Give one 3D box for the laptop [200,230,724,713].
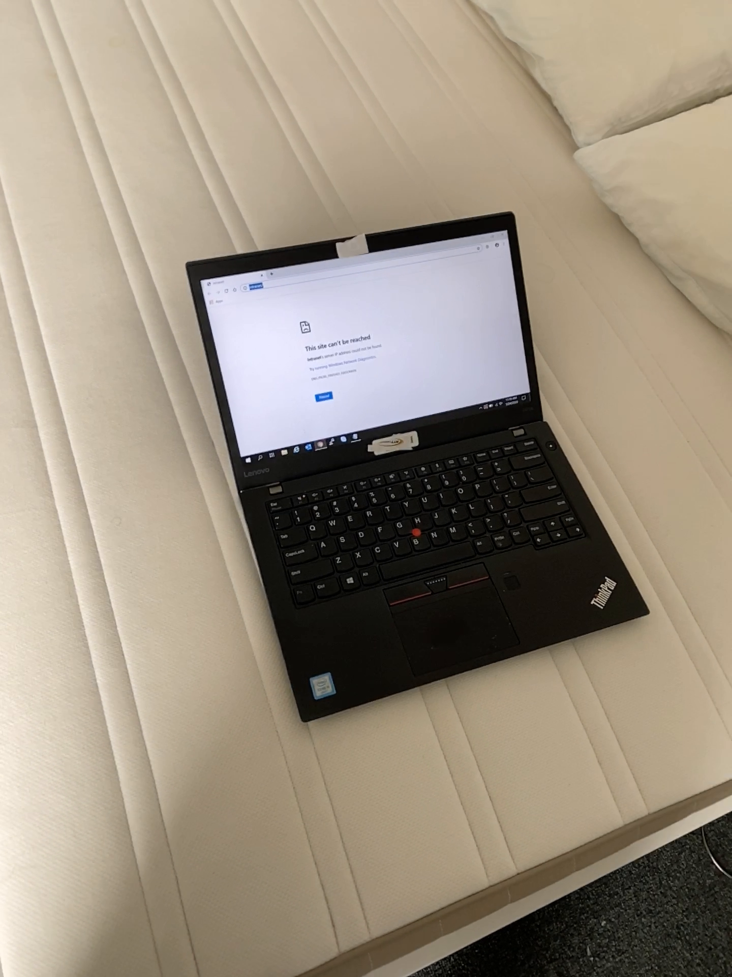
[{"bbox_3d":[0.057,-0.042,0.674,0.320,0.120,0.382,-13,61,-16],"label":"laptop"}]
